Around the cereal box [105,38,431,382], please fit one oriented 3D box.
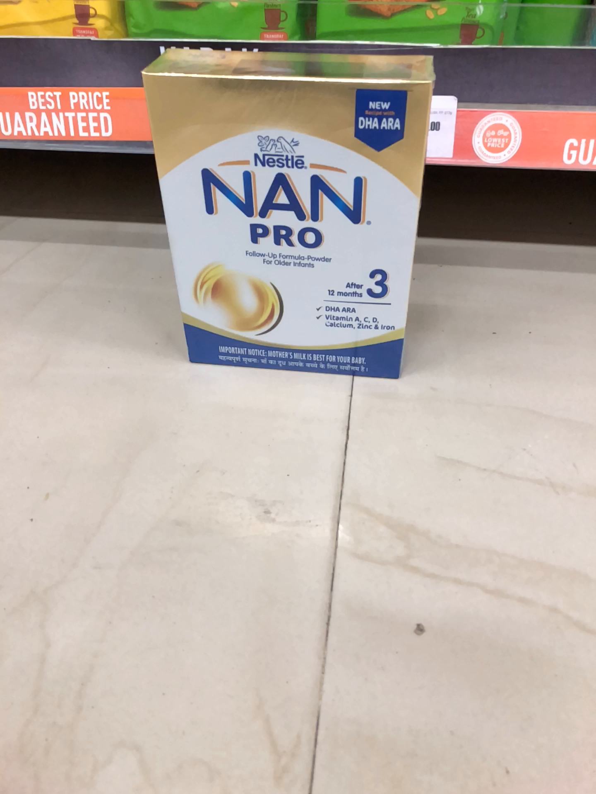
[{"bbox_3d":[-0.012,-0.105,0.397,0.160,0.189,0.050,5,41,6],"label":"cereal box"}]
